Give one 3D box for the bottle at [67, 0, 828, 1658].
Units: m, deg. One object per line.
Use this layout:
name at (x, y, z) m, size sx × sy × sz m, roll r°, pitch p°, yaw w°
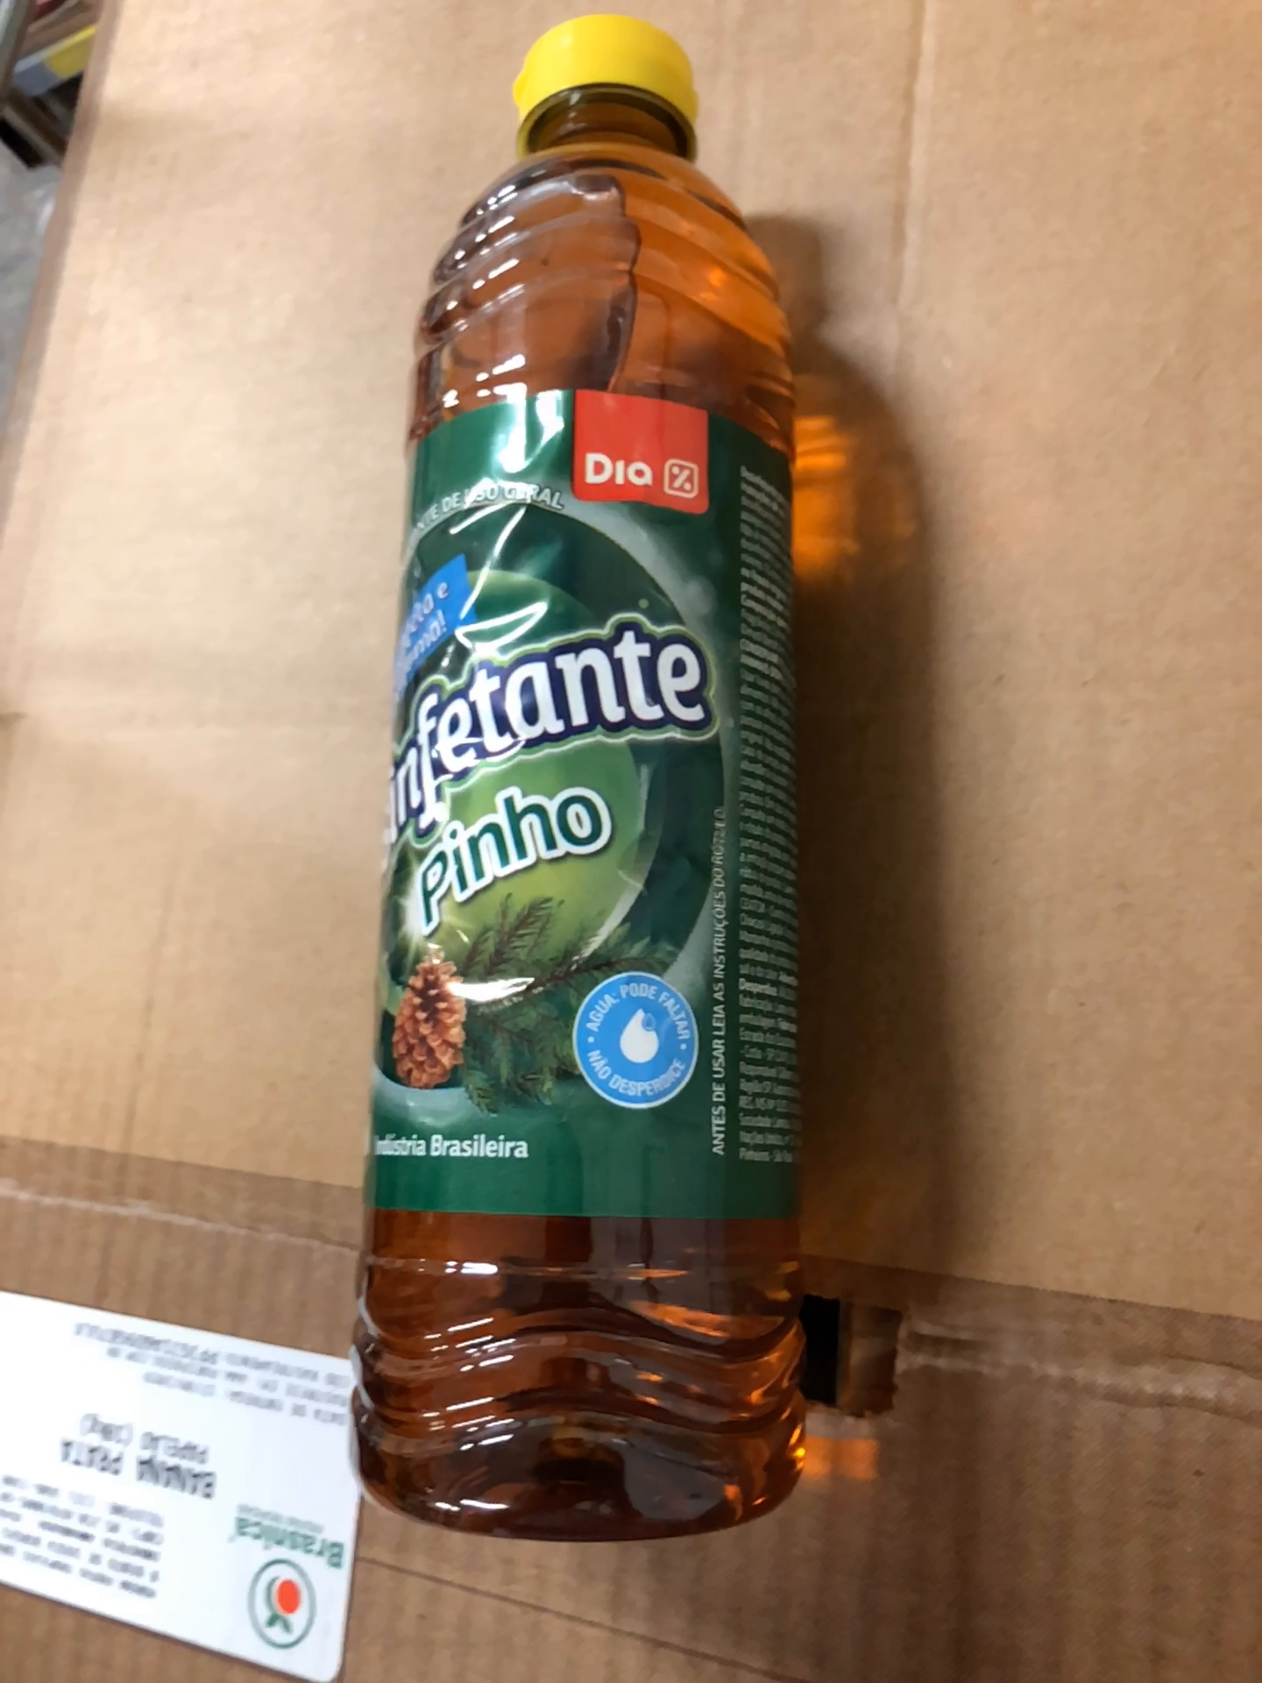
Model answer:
bottle at (-0.016, -0.020, 0.203) m, size 0.060 × 0.070 × 0.220 m, roll -10°, pitch 70°, yaw 37°
